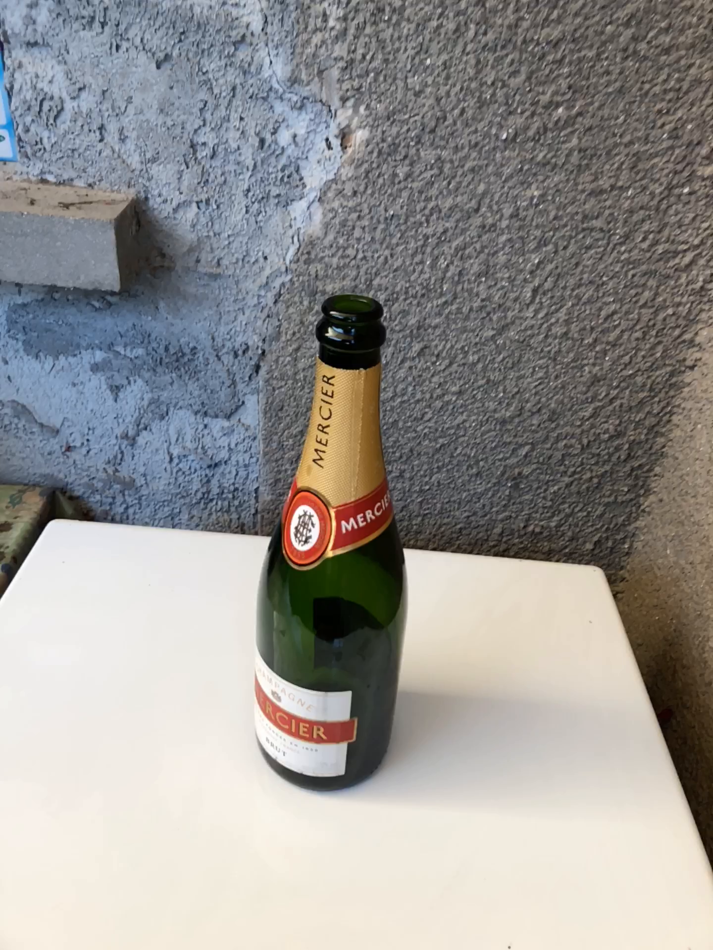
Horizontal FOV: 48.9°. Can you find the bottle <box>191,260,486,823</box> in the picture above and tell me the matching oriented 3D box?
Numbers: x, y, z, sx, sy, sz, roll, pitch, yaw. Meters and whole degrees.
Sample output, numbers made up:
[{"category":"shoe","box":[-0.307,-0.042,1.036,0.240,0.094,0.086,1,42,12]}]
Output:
[{"category":"bottle","box":[-0.018,0.045,0.434,0.100,0.288,0.090,30,41,34]}]
